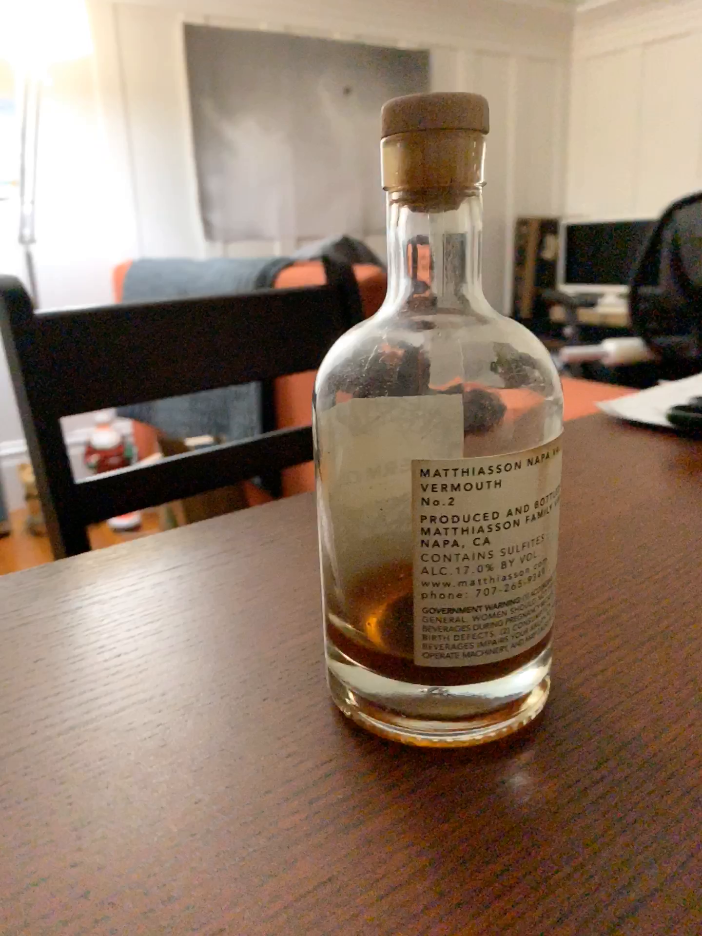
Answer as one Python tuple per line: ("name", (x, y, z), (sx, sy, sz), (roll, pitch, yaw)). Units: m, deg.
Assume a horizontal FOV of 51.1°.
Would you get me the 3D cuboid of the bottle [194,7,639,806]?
("bottle", (0.020, -0.018, 0.227), (0.090, 0.189, 0.080), (-15, 21, -36))
